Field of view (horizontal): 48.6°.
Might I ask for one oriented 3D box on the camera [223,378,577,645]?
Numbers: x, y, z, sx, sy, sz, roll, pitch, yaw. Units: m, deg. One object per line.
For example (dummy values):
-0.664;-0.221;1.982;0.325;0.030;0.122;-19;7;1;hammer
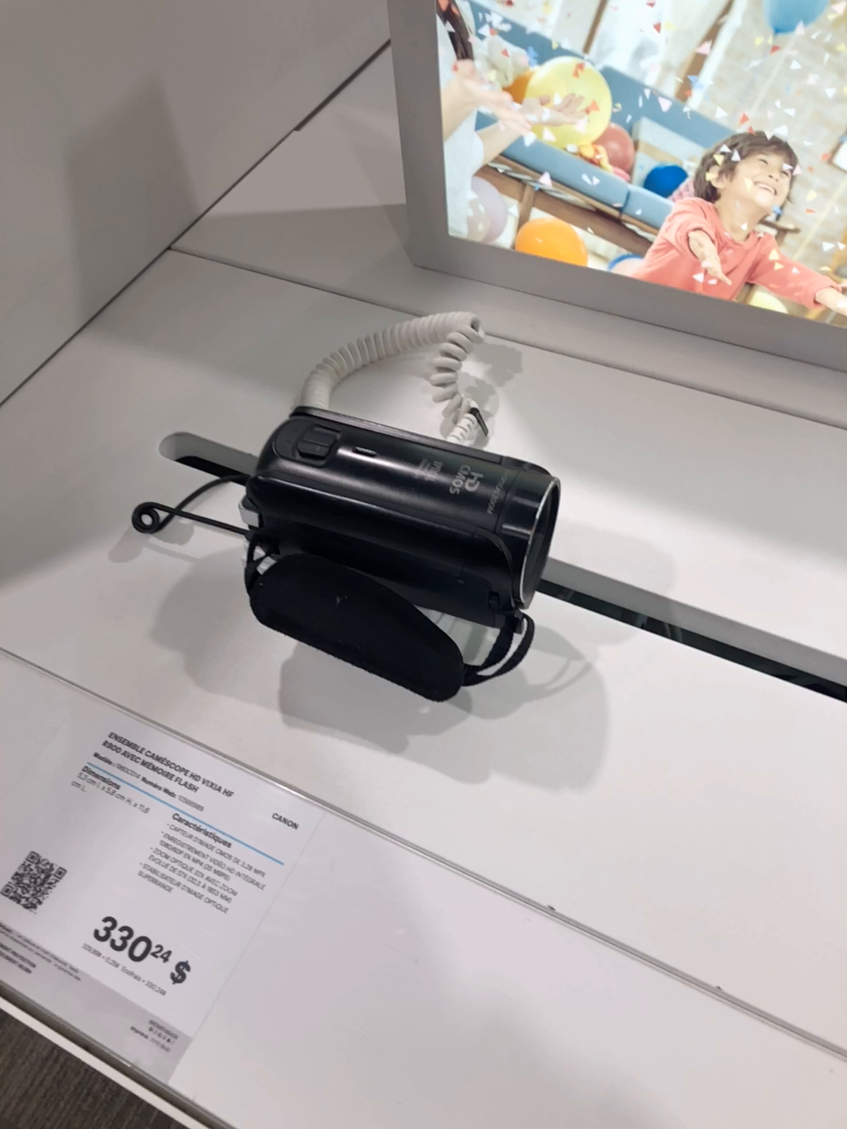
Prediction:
-0.007;-0.021;0.346;0.113;0.050;0.050;17;56;17;camera
